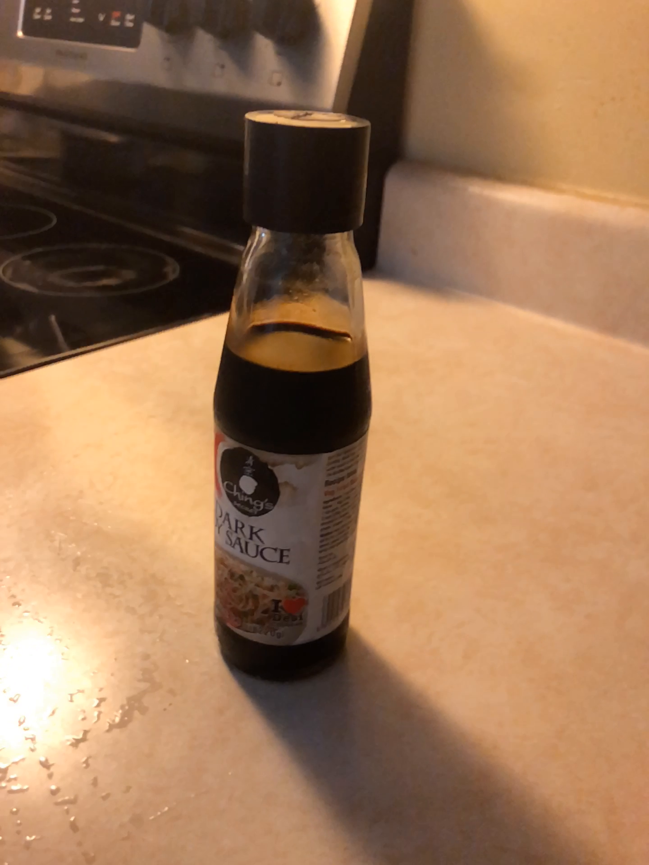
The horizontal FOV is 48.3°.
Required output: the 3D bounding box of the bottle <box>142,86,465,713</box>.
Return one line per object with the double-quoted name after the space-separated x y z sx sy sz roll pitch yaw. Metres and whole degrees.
-0.009 -0.008 0.230 0.060 0.179 0.060 3 28 -2 "bottle"
